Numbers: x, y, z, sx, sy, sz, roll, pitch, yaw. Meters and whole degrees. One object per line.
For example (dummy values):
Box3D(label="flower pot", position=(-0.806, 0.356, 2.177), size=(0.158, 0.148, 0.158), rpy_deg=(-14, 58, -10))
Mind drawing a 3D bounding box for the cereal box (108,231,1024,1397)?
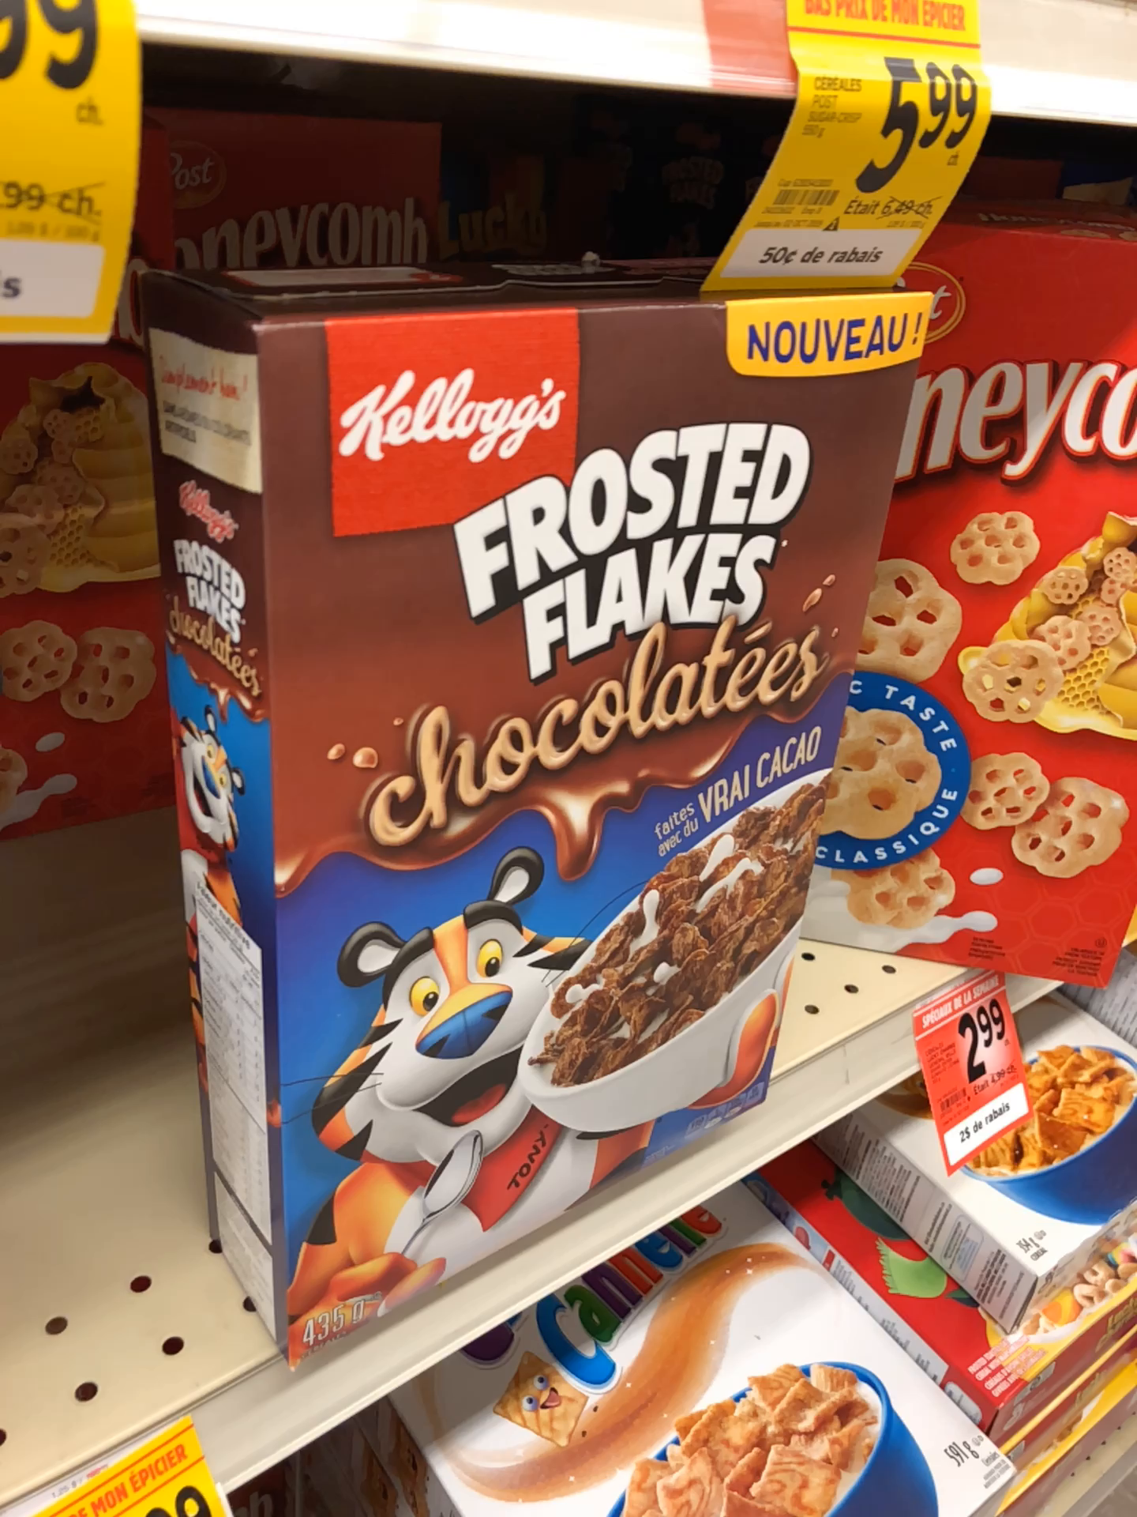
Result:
Box3D(label="cereal box", position=(0.001, 0.007, 0.351), size=(0.211, 0.278, 0.070), rpy_deg=(-16, 35, -34))
